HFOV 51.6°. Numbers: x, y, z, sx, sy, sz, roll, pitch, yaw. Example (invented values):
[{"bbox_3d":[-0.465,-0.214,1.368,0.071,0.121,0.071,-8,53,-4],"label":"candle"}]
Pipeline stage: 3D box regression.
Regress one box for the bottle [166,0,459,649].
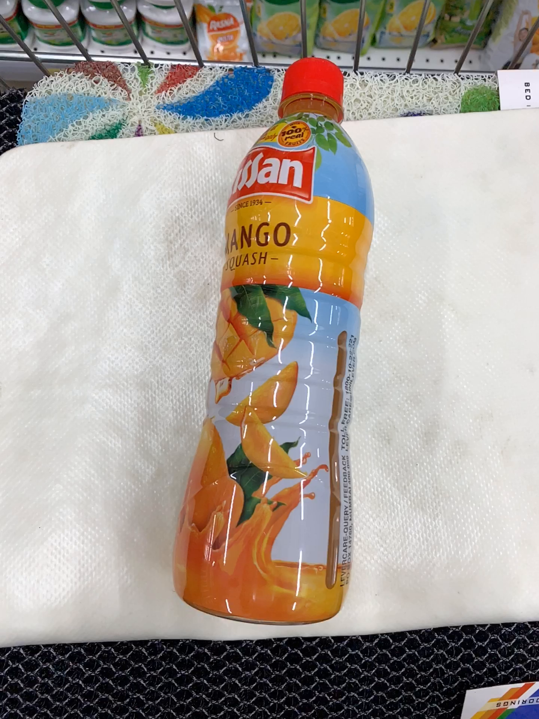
[{"bbox_3d":[0.018,-0.018,0.235,0.080,0.070,0.230,6,87,-33],"label":"bottle"}]
